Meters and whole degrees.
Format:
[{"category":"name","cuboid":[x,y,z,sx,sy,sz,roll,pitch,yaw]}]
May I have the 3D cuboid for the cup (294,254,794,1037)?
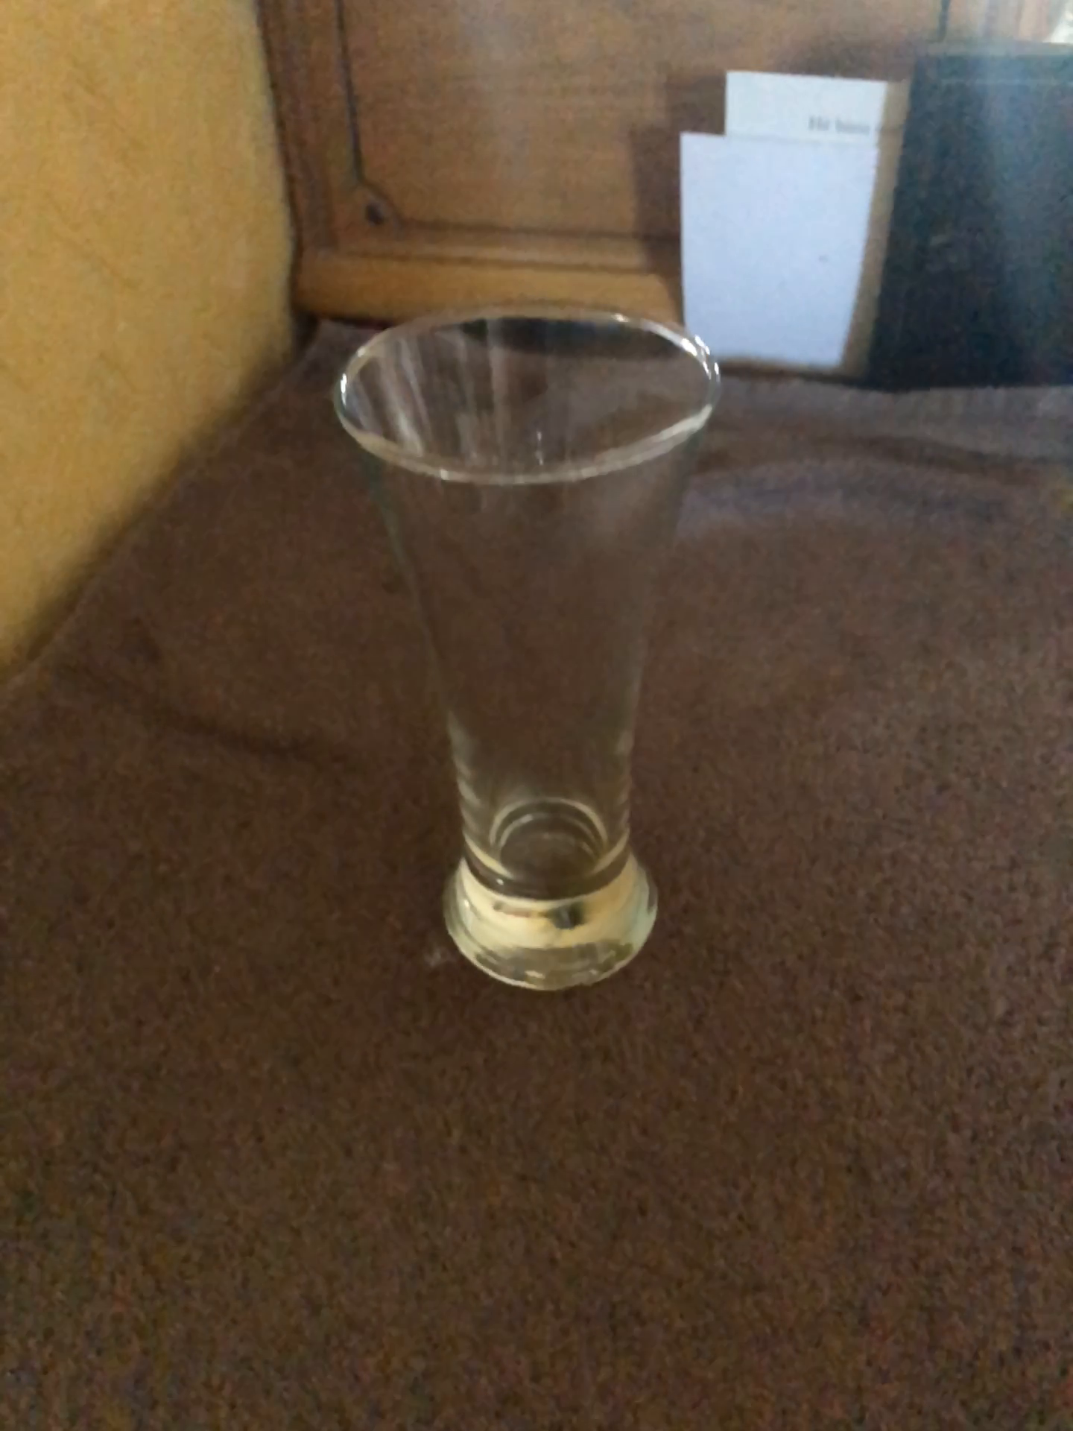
[{"category":"cup","cuboid":[-0.002,-0.011,0.268,0.080,0.149,0.080,-1,41,1]}]
